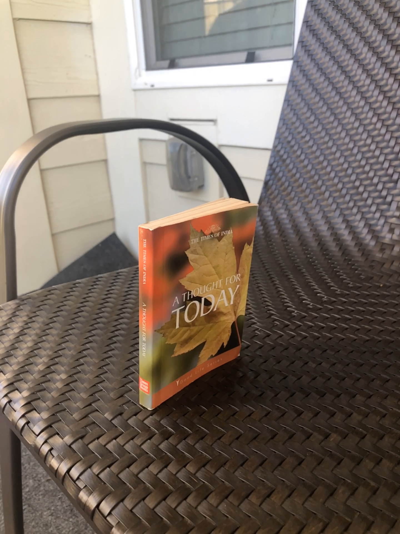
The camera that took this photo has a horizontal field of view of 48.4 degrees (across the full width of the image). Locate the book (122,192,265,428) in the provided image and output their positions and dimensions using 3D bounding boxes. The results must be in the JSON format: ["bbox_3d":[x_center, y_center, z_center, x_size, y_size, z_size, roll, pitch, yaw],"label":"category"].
[{"bbox_3d":[0.000,0.024,0.309,0.031,0.128,0.106,18,29,35],"label":"book"}]
